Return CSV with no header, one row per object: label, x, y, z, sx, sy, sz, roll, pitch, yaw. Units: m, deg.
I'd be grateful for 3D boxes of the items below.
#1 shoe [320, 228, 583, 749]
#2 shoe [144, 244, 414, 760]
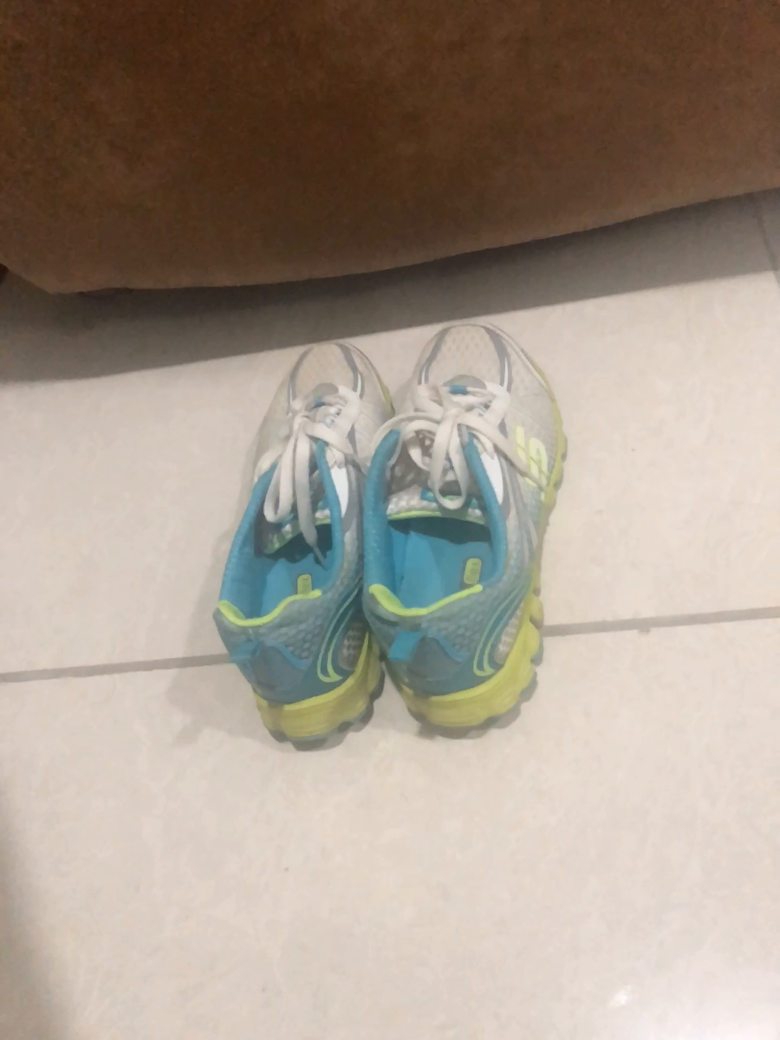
shoe,0.049,-0.029,0.506,0.110,0.100,0.300,-4,53,16
shoe,-0.048,-0.023,0.515,0.100,0.100,0.301,-8,52,13
